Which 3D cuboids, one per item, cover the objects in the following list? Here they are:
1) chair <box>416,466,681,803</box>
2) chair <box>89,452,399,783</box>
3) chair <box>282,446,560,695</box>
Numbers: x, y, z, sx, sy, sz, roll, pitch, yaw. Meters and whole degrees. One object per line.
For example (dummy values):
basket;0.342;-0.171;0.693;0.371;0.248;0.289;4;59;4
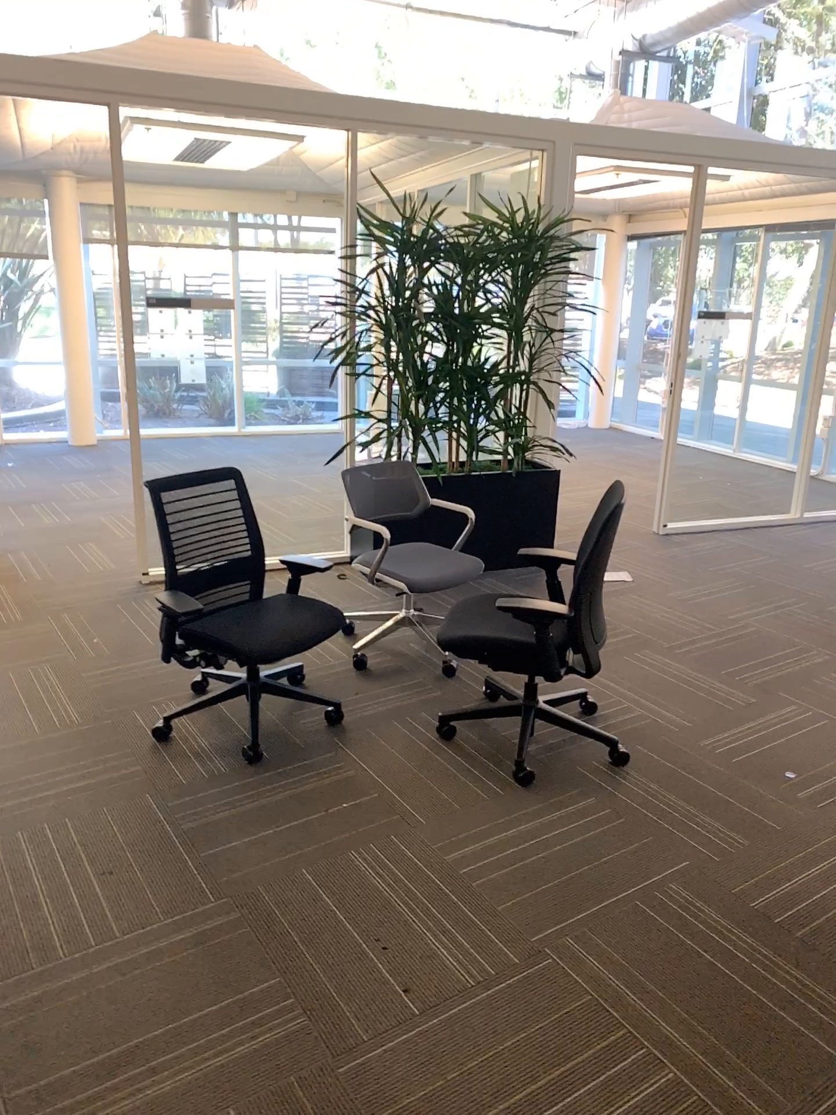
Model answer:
chair;0.461;0.212;3.079;0.761;0.886;0.853;5;17;10
chair;-0.618;0.147;3.158;0.722;0.886;0.811;14;21;36
chair;-0.010;-0.012;3.902;0.840;0.796;0.924;-12;22;-39
